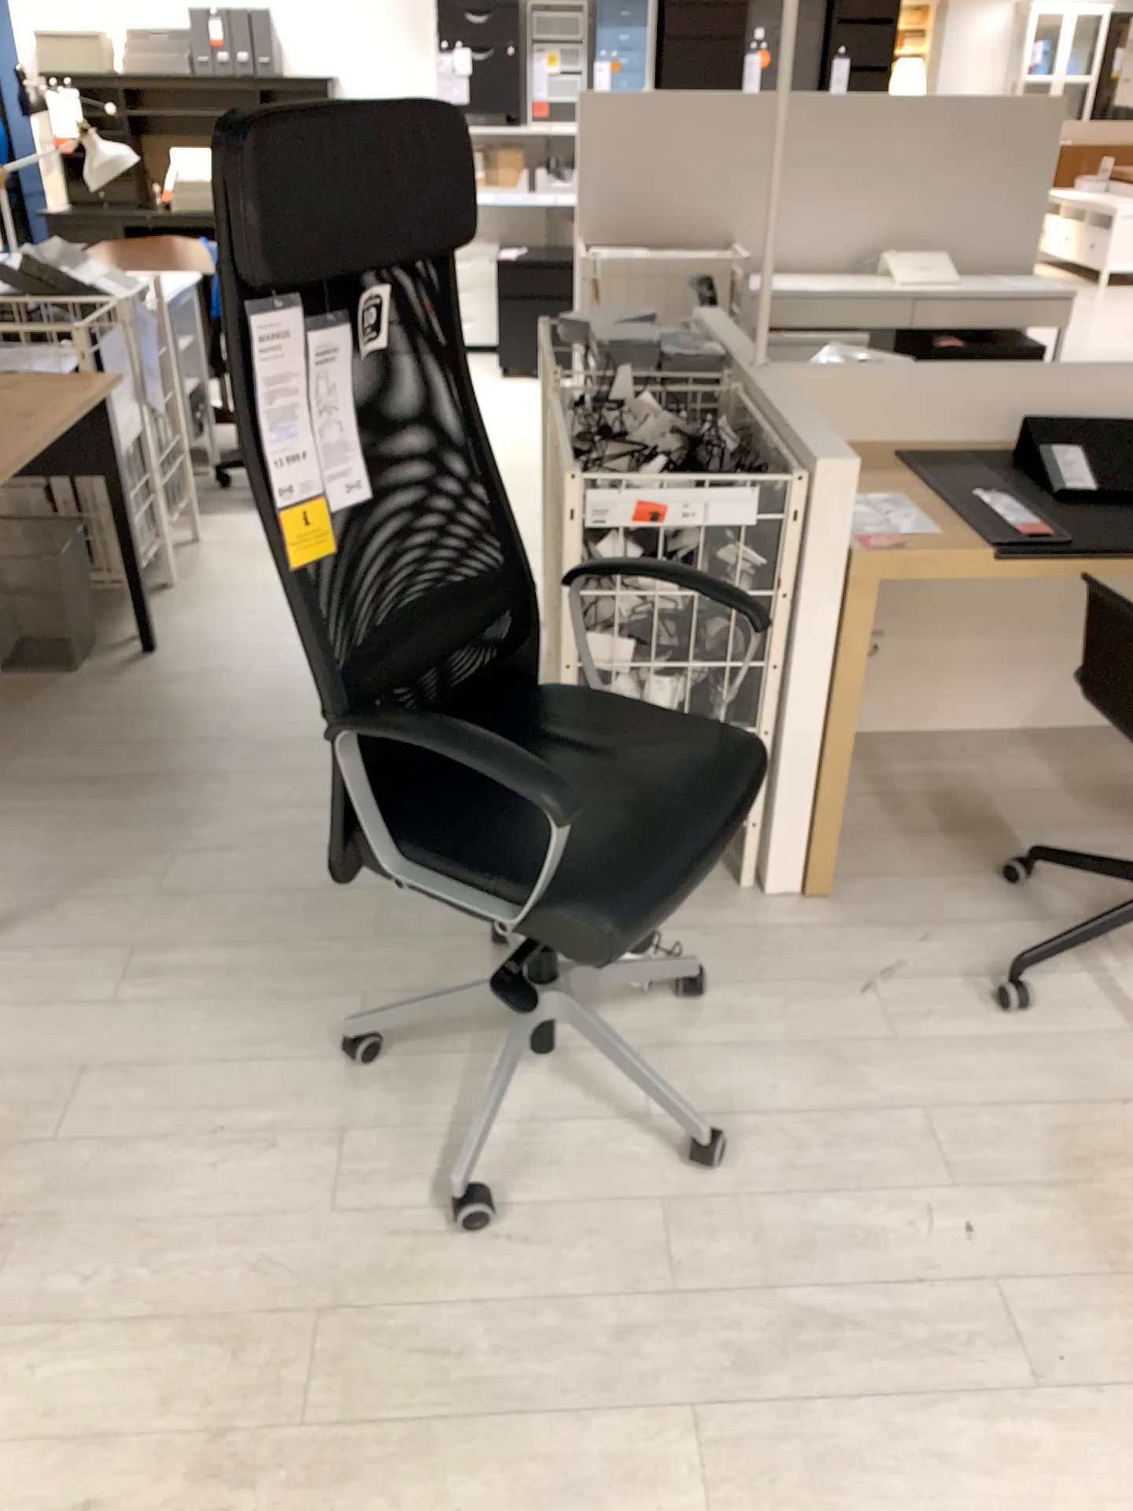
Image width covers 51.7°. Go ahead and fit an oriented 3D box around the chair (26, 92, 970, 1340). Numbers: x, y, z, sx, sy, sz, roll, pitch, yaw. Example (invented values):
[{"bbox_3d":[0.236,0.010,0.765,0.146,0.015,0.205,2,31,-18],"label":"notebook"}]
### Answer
[{"bbox_3d":[-0.018,-0.104,1.500,0.679,1.293,0.725,15,33,24],"label":"chair"}]
